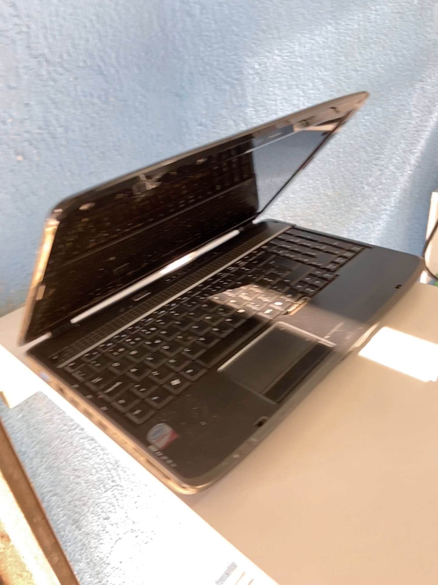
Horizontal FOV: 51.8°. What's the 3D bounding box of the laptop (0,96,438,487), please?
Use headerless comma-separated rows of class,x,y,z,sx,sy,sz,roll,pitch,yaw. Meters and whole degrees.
laptop,0.015,-0.066,0.438,0.236,0.174,0.379,19,39,38
